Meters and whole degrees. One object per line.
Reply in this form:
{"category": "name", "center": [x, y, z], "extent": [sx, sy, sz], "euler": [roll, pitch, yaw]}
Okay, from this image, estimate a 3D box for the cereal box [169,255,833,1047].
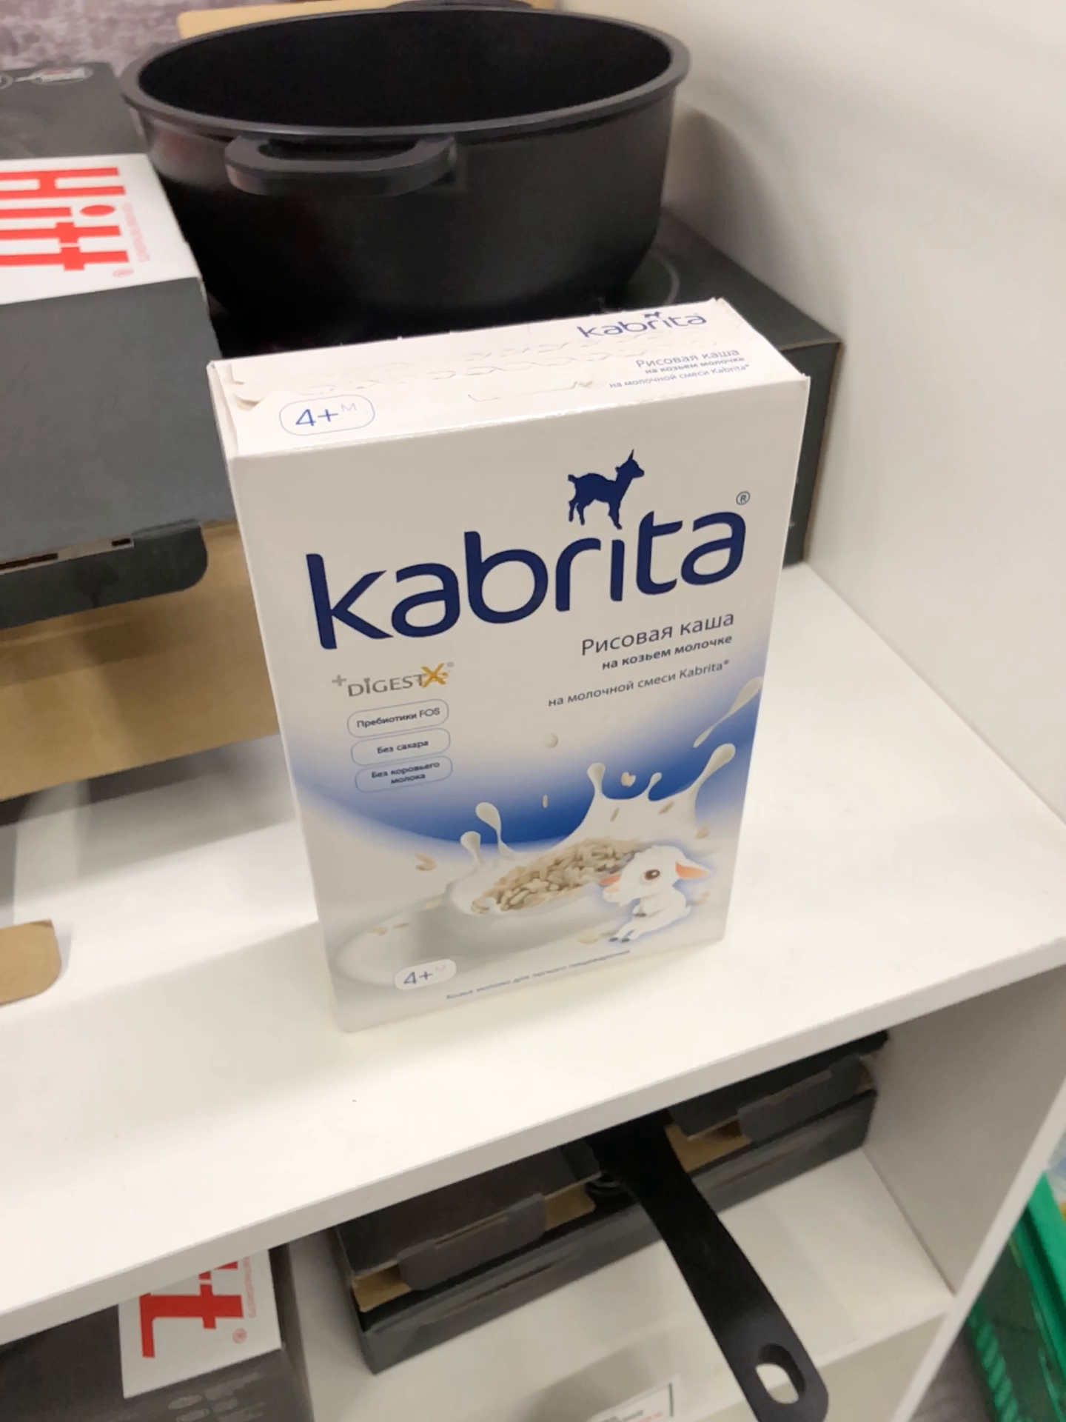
{"category": "cereal box", "center": [-0.009, -0.006, 0.337], "extent": [0.140, 0.209, 0.060], "euler": [-11, 42, -12]}
